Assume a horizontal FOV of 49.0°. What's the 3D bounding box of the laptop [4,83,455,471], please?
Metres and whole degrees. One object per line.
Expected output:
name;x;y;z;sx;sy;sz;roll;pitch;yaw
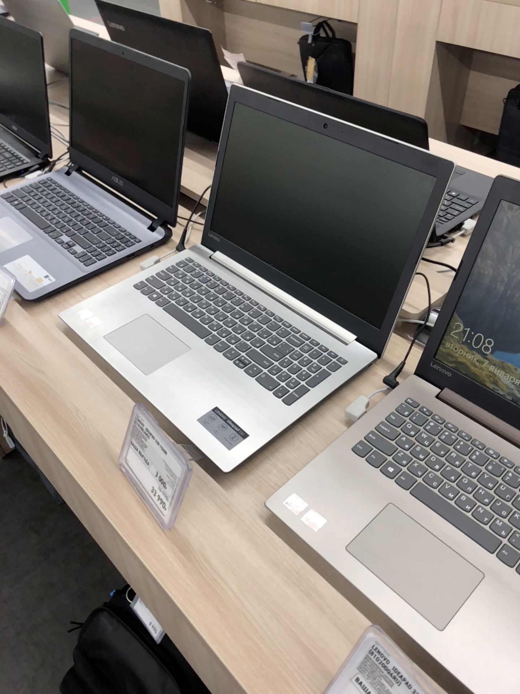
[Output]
laptop;-0.038;-0.122;0.697;0.336;0.220;0.366;-33;50;-28

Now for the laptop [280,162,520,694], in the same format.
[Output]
laptop;0.242;0.075;0.459;0.327;0.222;0.358;-35;51;-29

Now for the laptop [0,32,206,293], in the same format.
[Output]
laptop;-0.332;-0.314;0.913;0.319;0.232;0.327;-32;50;-28
